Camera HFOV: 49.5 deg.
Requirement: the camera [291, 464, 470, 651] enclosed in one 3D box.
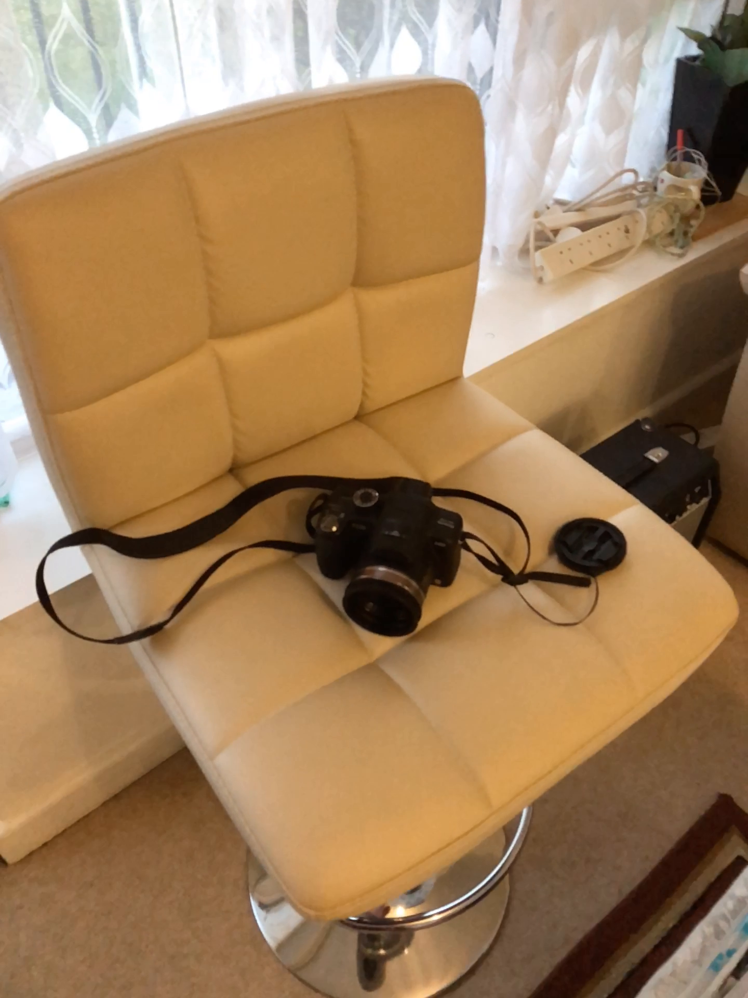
[{"bbox_3d":[0.007,0.043,0.613,0.111,0.076,0.098,9,46,8],"label":"camera"}]
